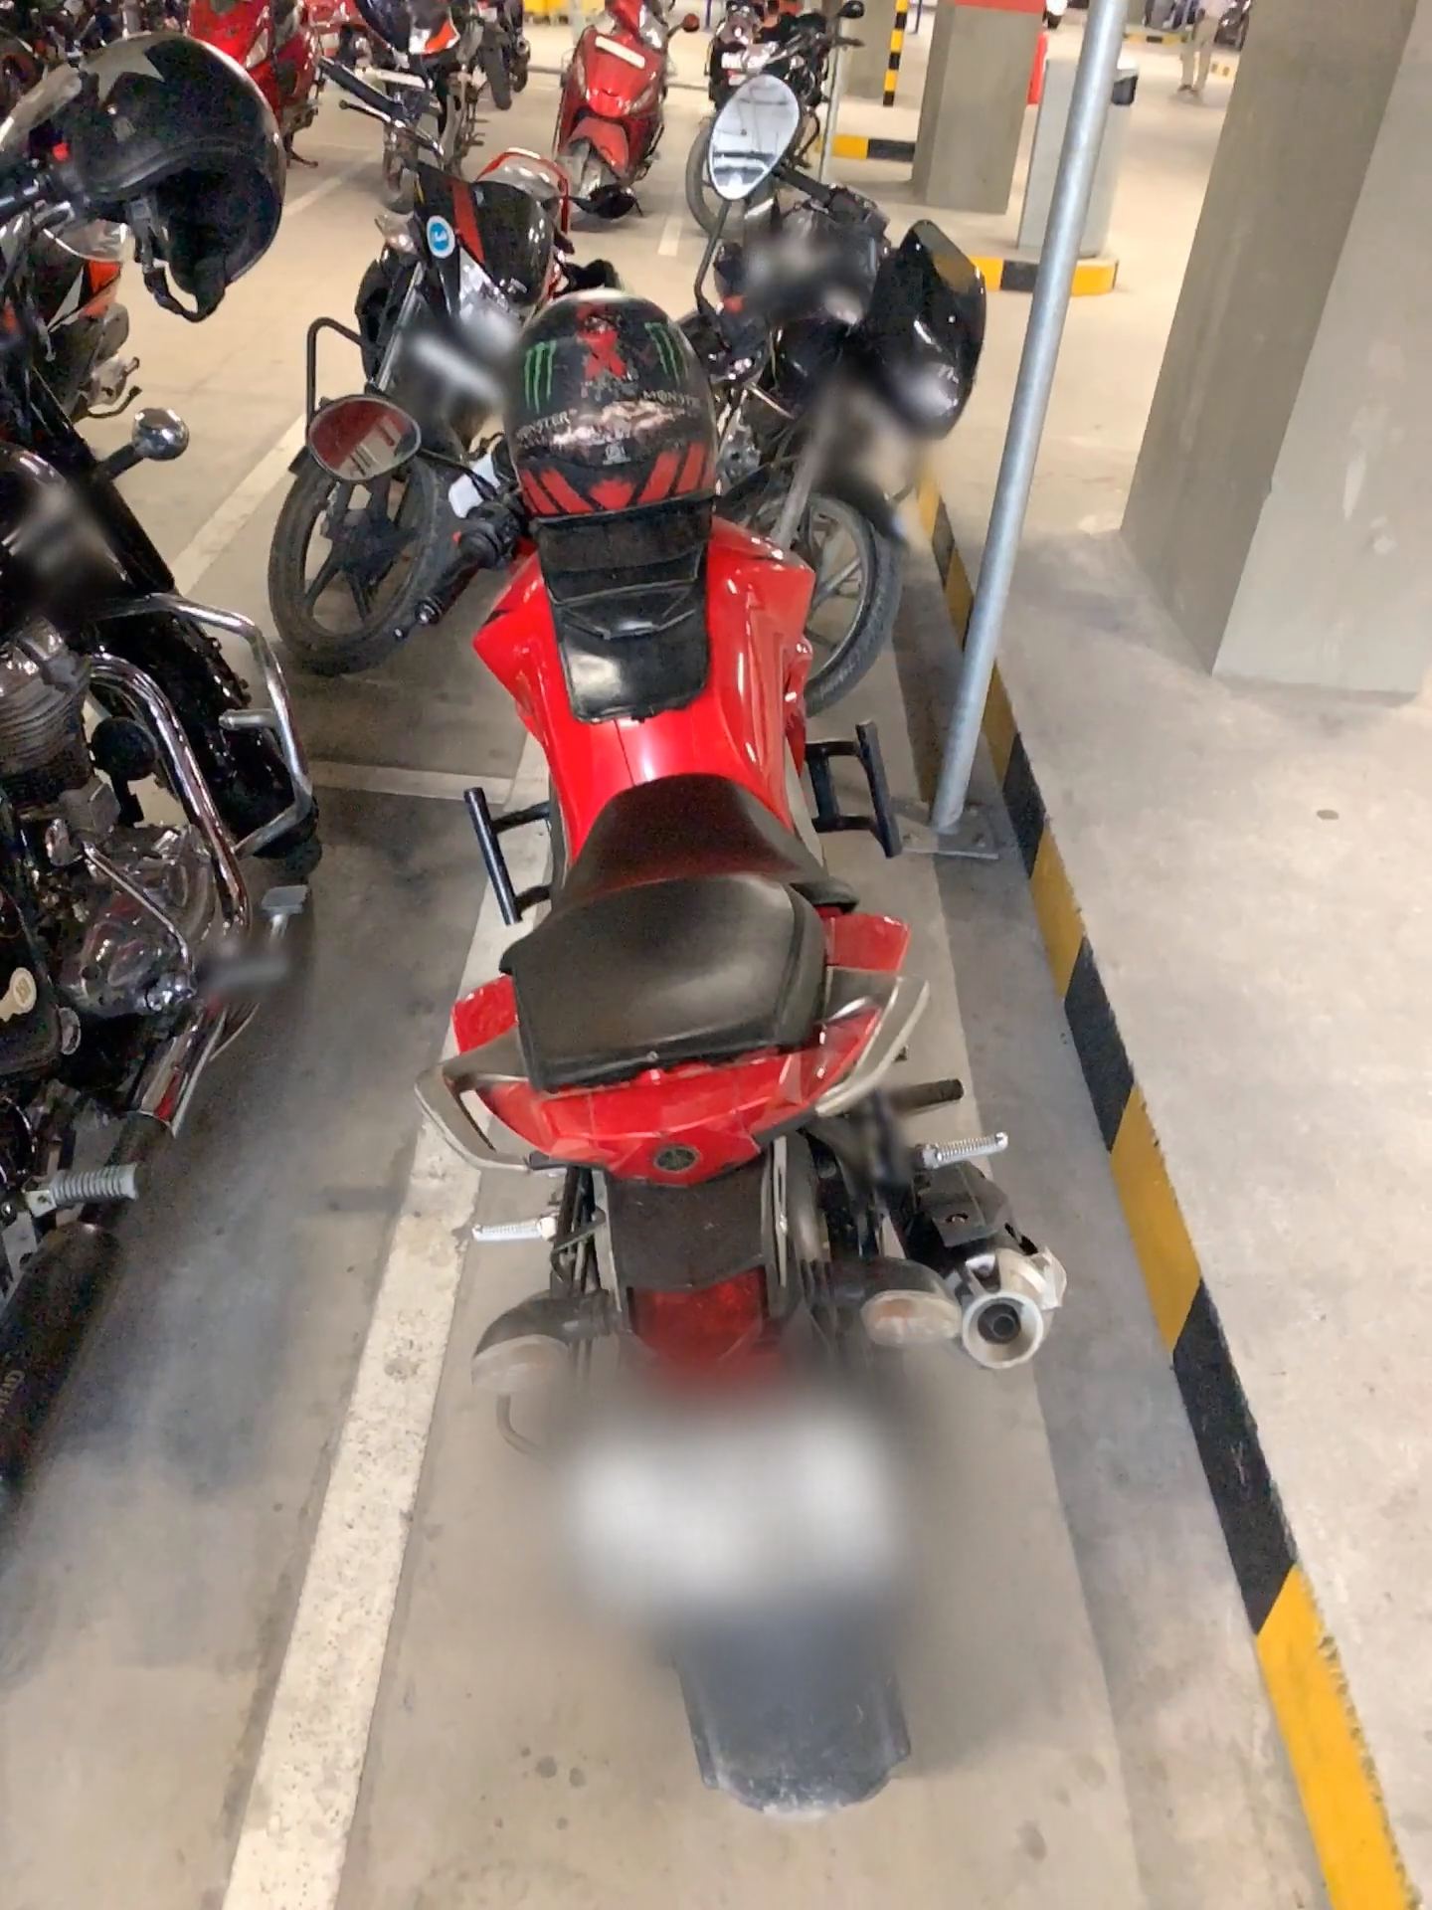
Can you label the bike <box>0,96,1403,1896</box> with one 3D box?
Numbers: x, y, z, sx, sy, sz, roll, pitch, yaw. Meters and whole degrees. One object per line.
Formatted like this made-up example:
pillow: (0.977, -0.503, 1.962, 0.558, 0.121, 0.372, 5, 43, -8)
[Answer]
bike: (-0.244, -0.147, 1.631, 0.677, 1.121, 1.691, -3, 38, -13)
